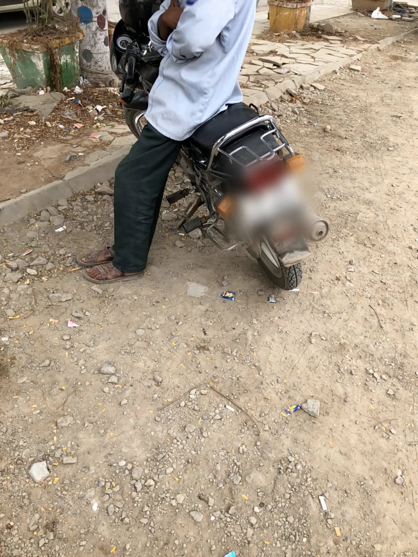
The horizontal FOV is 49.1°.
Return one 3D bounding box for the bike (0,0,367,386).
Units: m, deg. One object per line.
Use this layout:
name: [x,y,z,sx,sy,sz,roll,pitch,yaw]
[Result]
bike: [-0.313,-0.632,1.949,0.741,1.170,1.599,-16,42,-23]
